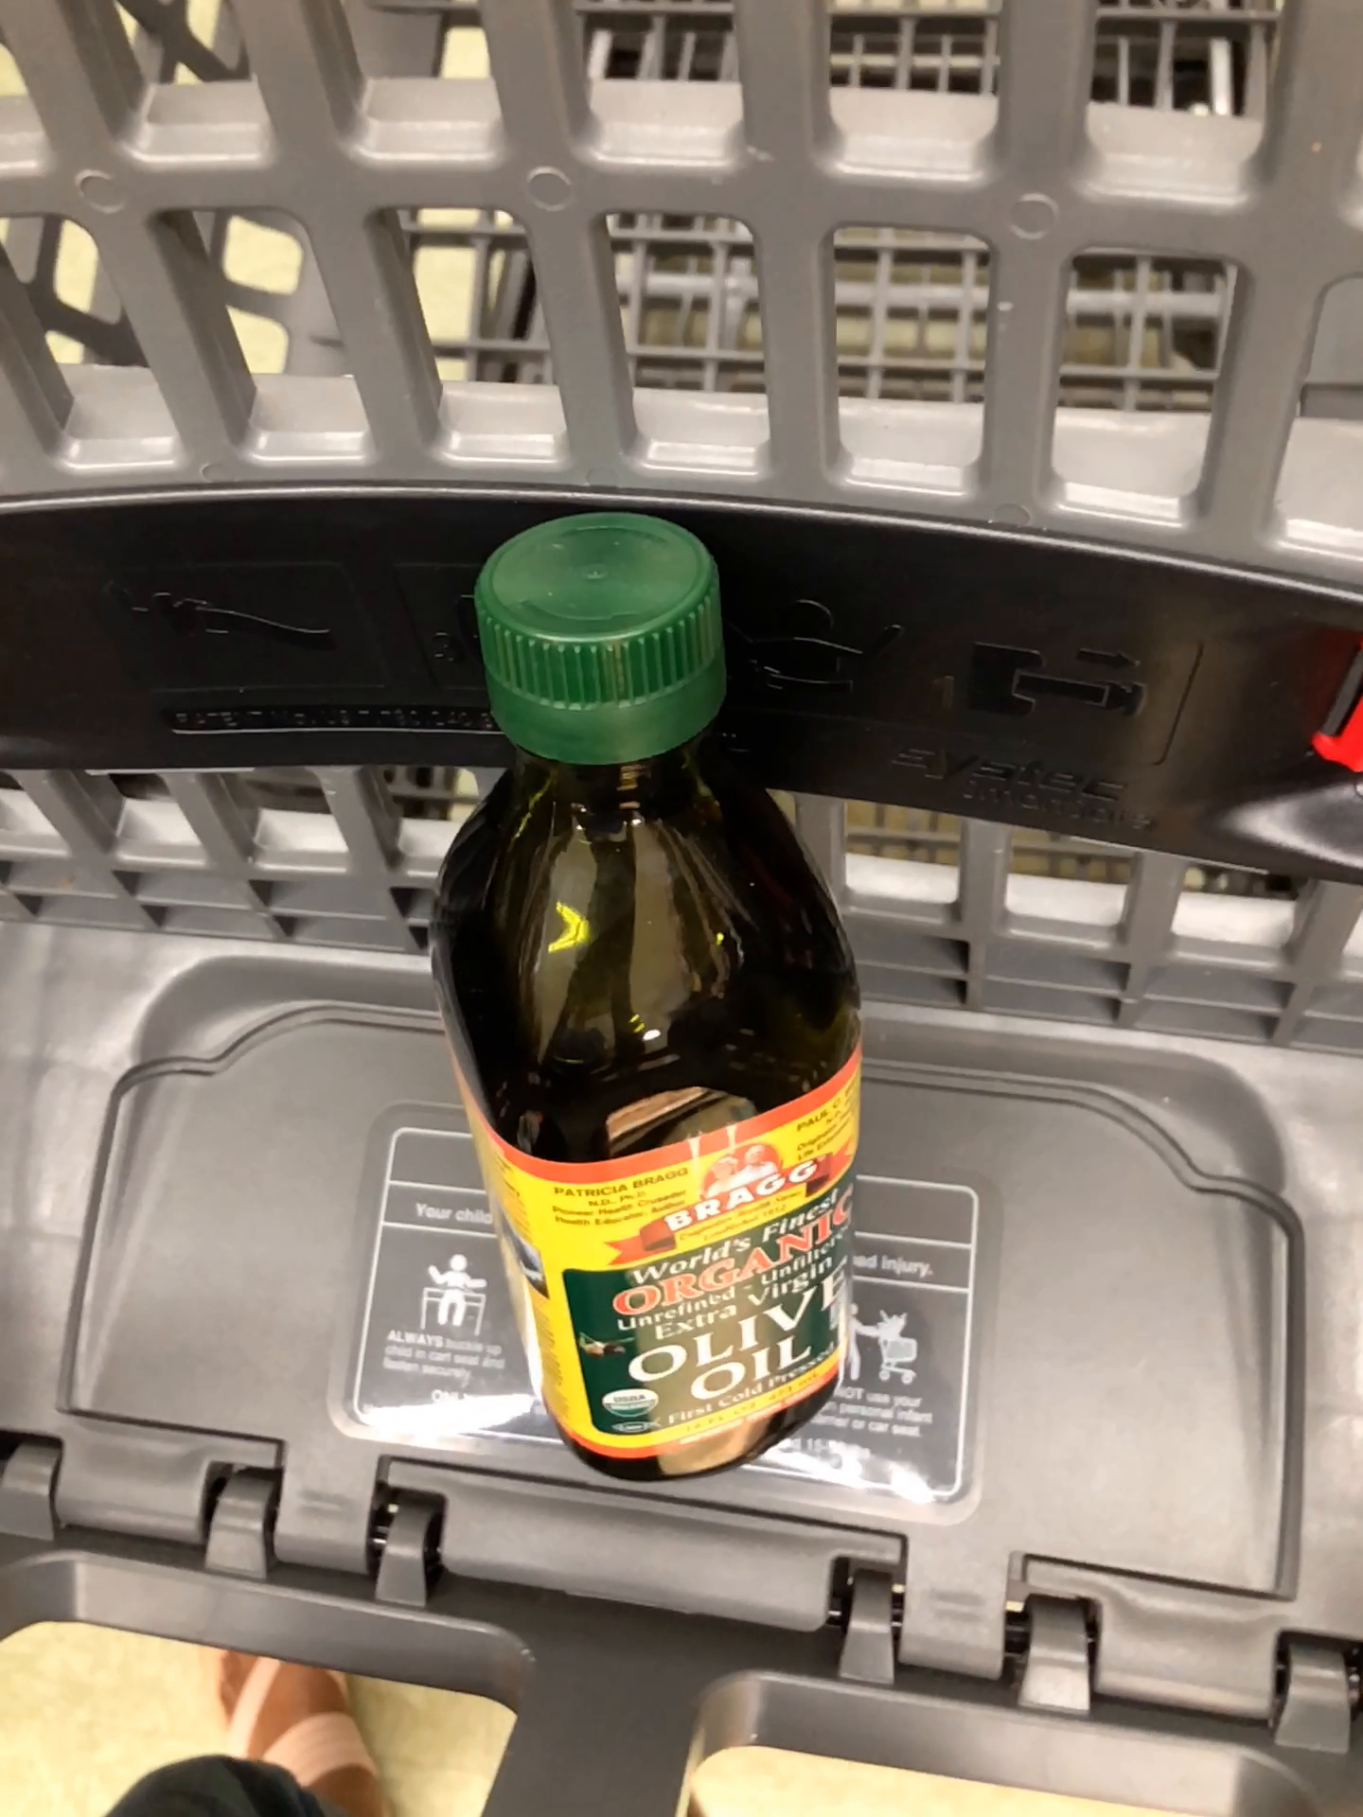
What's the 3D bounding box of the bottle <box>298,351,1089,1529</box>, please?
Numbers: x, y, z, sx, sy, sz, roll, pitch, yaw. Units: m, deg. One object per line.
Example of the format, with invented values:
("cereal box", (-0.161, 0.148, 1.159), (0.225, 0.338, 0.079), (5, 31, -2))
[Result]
("bottle", (0.001, 0.019, 0.262), (0.080, 0.193, 0.070), (-17, 47, -15))
